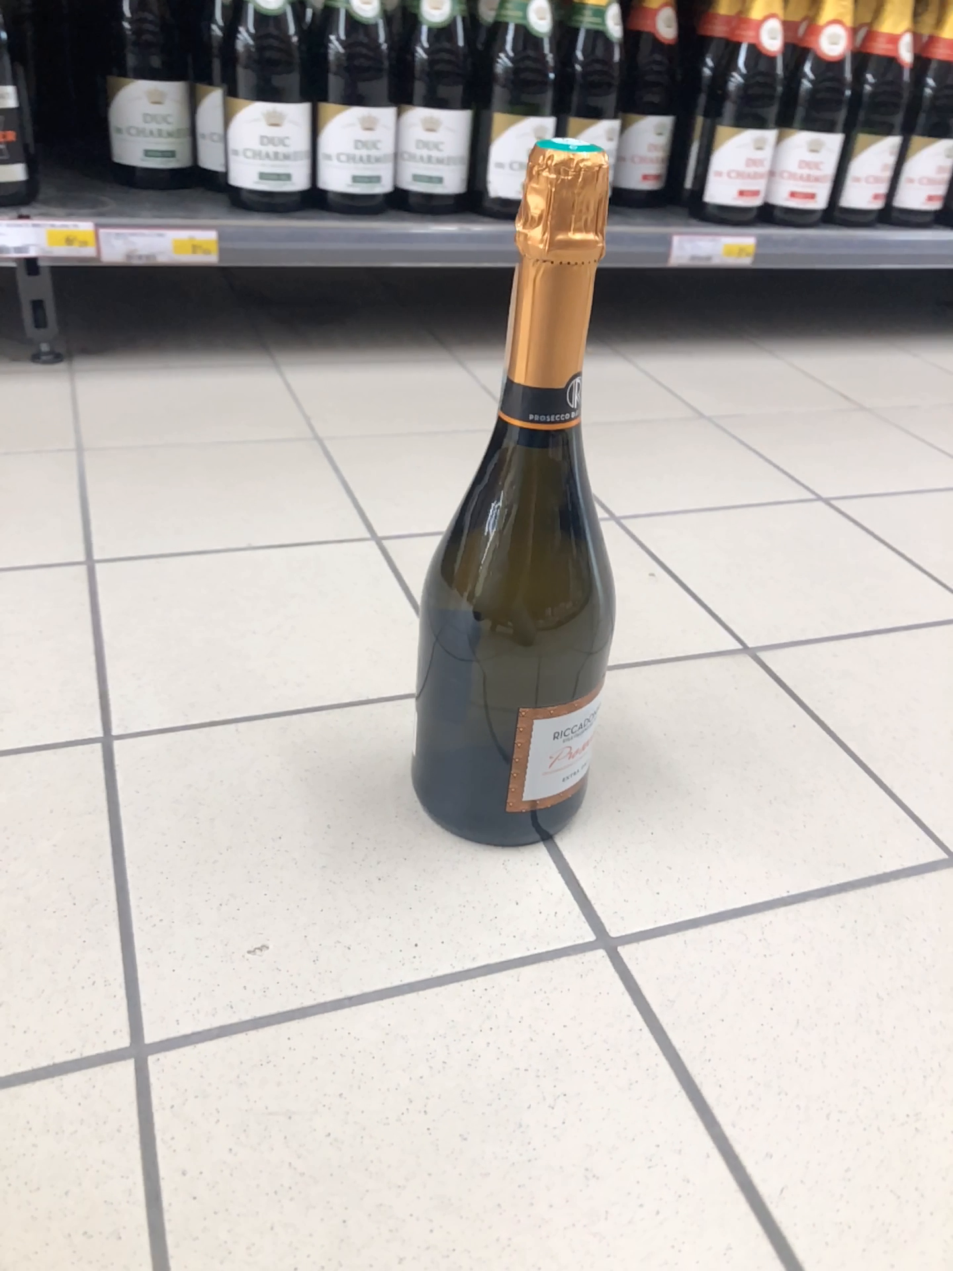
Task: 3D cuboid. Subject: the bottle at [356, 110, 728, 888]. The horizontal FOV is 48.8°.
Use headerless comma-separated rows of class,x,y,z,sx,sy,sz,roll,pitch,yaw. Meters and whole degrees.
bottle,0.017,-0.053,0.471,0.090,0.318,0.101,25,36,30
